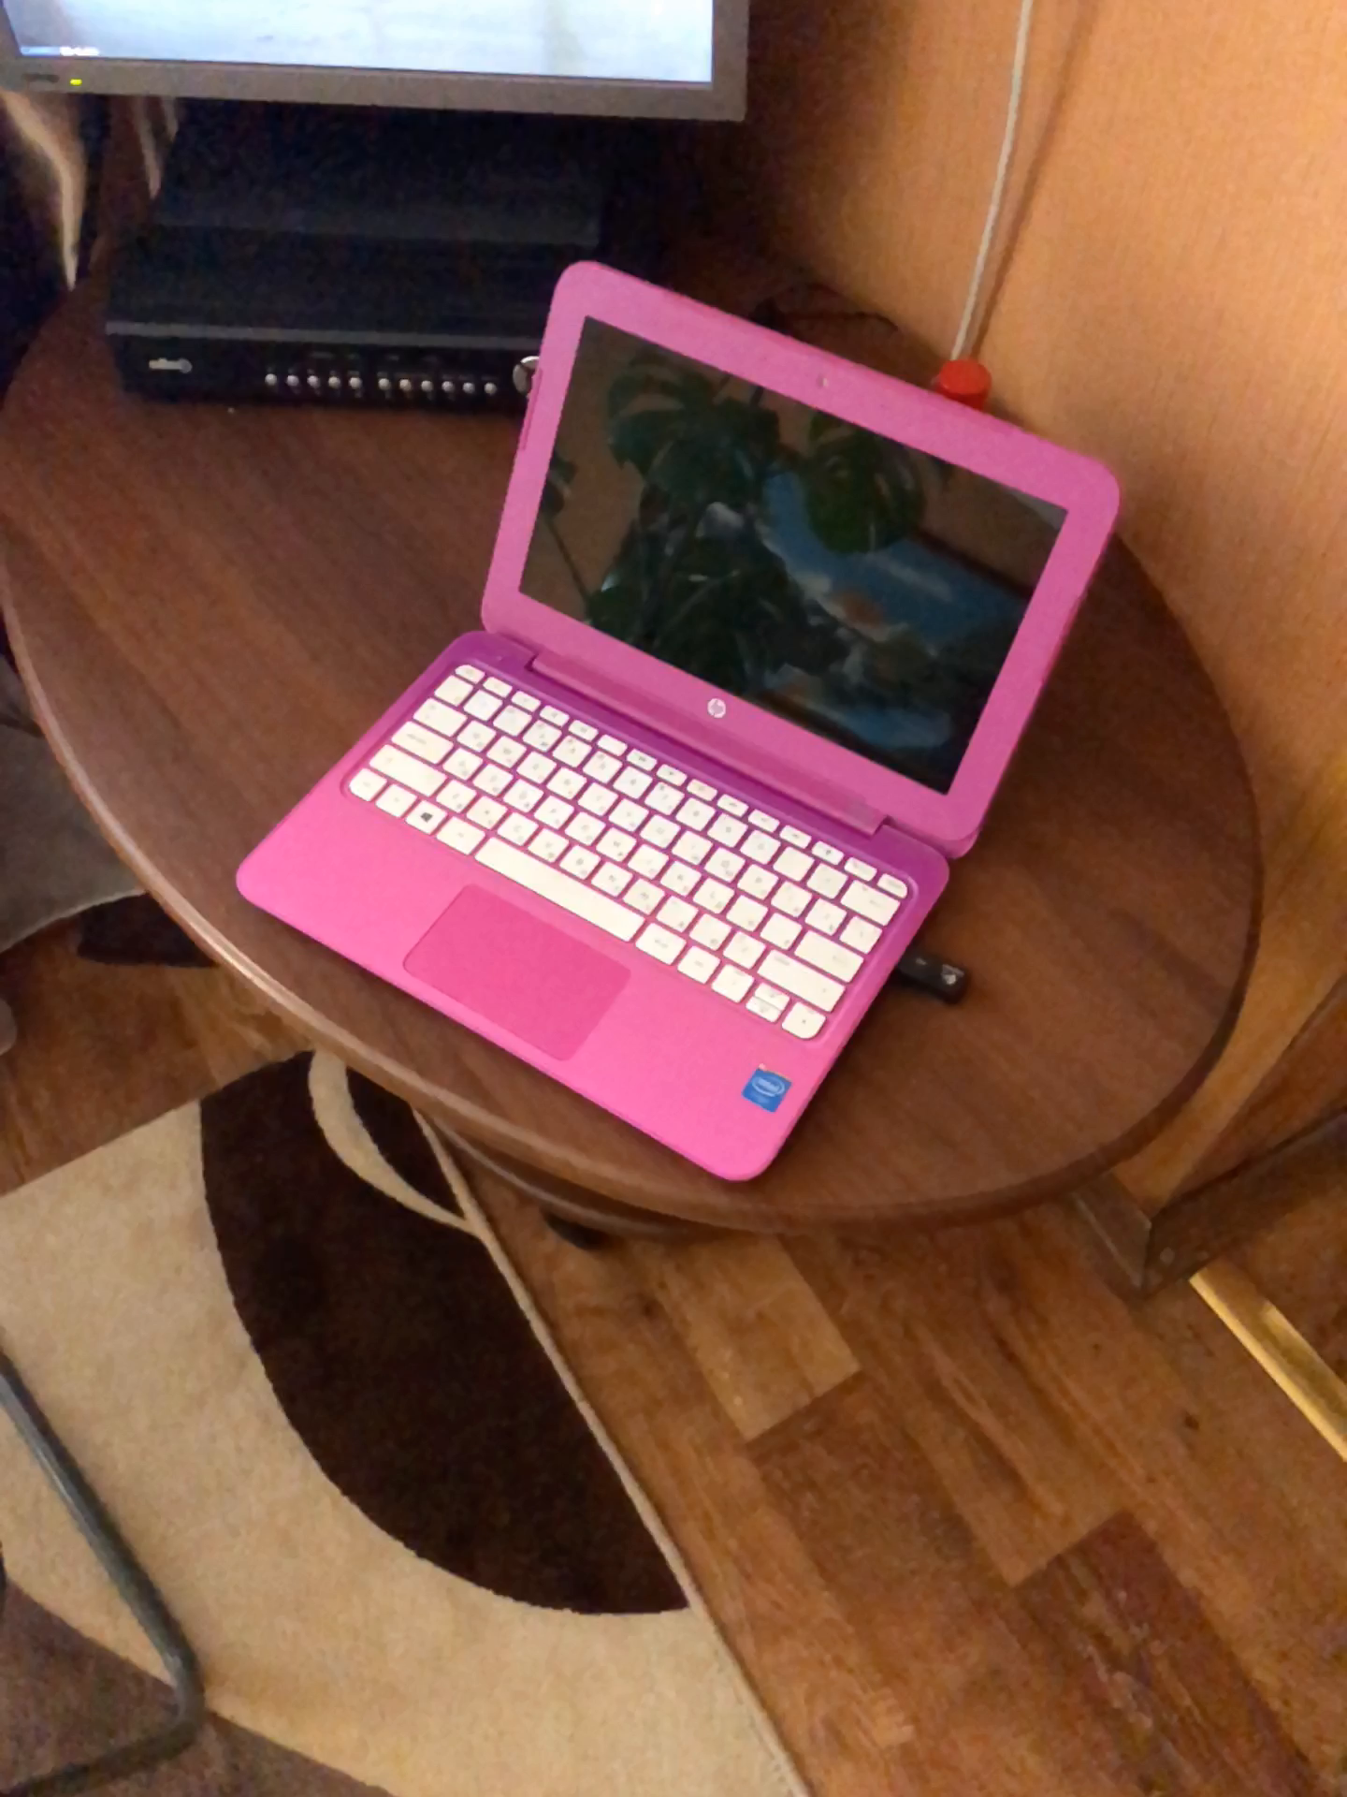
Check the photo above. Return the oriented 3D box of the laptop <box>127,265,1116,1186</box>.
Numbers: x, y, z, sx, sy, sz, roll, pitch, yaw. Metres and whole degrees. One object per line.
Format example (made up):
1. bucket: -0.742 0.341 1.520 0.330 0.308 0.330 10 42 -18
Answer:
1. laptop: -0.011 -0.091 0.654 0.279 0.150 0.296 28 61 17
